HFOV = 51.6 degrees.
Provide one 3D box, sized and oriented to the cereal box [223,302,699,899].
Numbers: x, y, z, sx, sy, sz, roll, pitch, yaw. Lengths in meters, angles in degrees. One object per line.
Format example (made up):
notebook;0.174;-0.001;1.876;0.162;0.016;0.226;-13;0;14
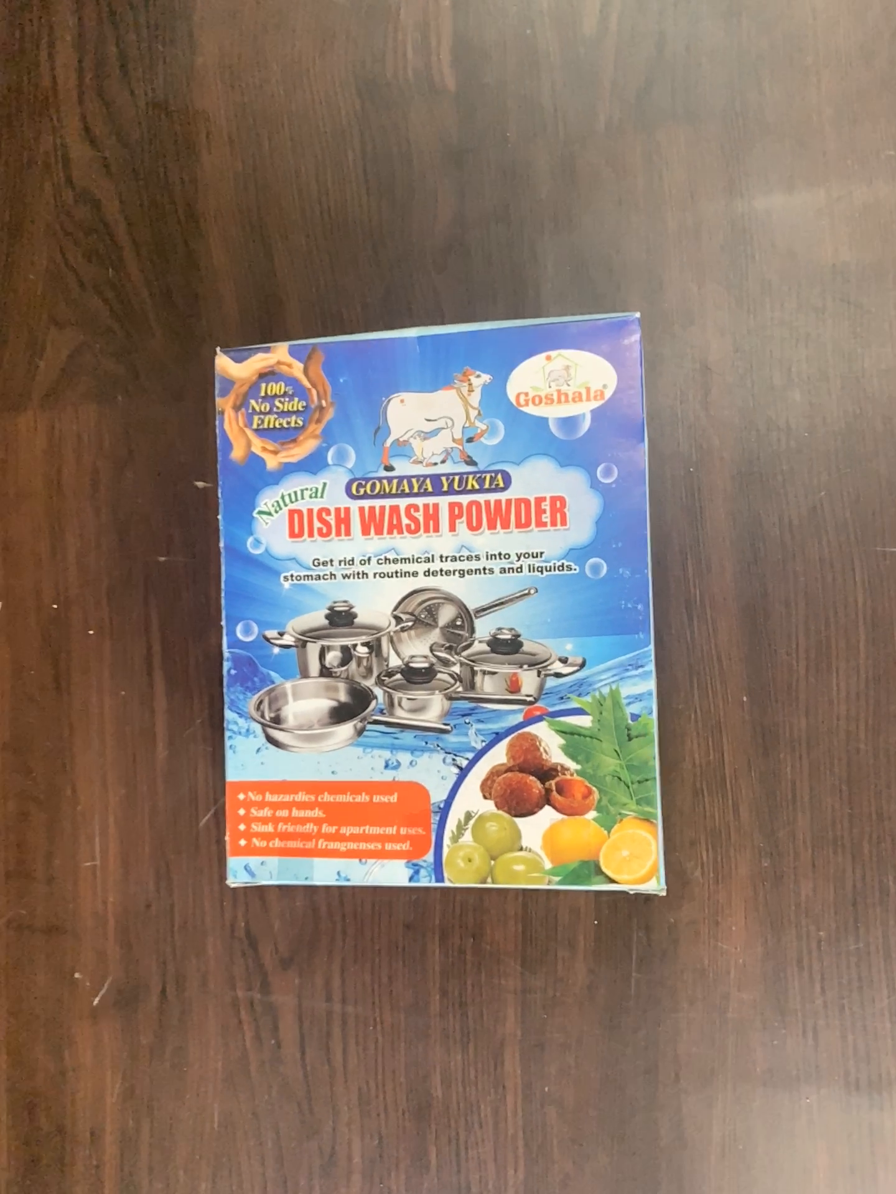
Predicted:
cereal box;0.005;0.004;0.306;0.140;0.060;0.170;-2;86;11
